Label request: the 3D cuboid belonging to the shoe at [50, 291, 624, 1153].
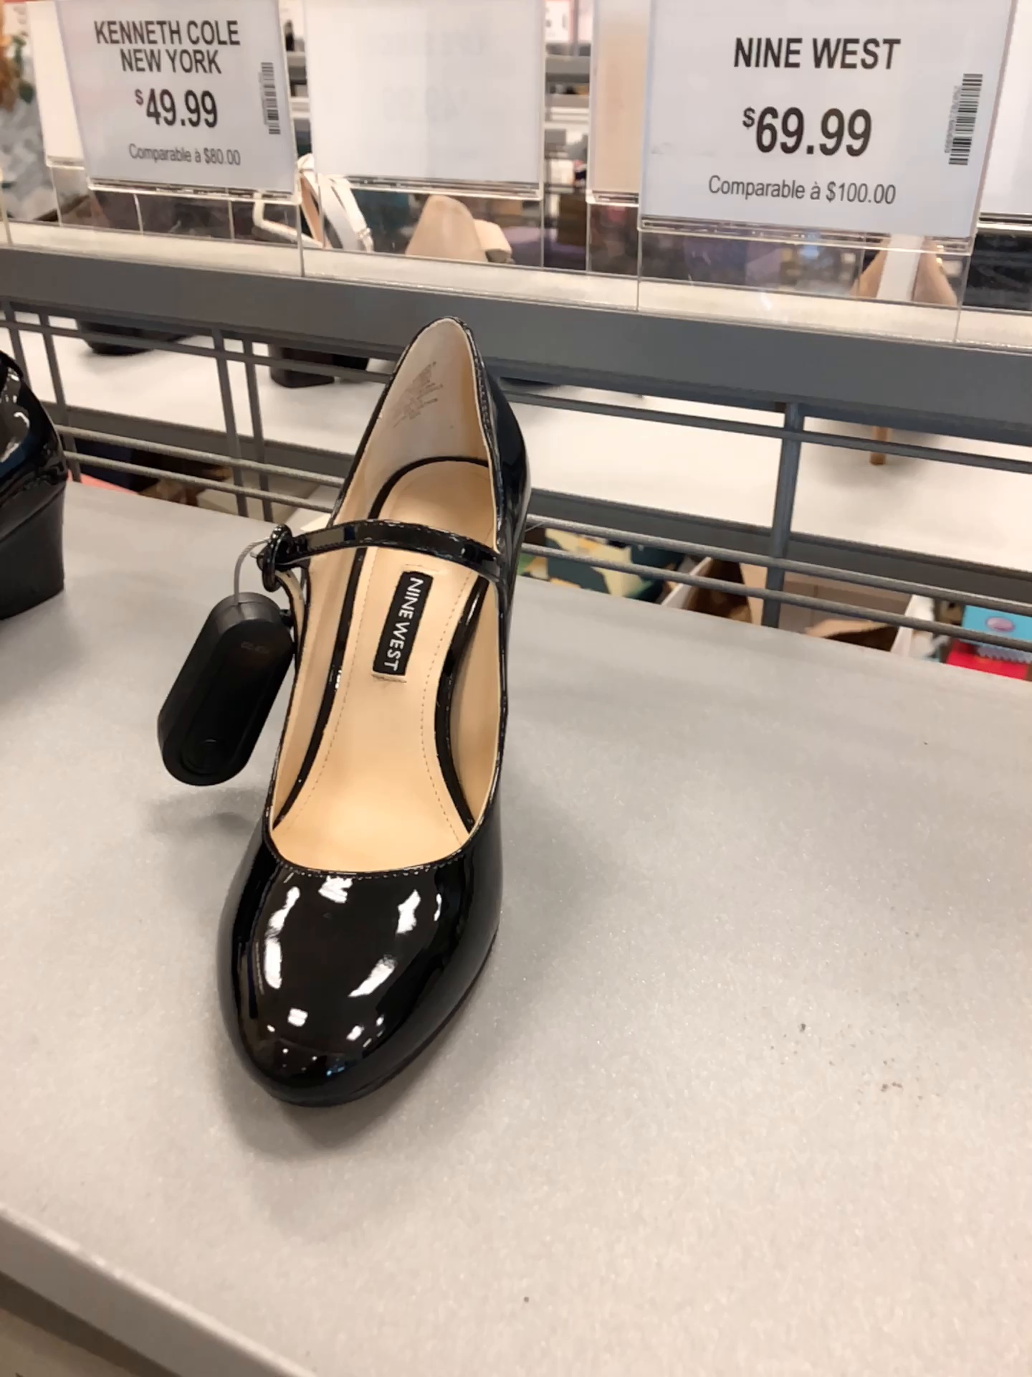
[{"bbox_3d":[-0.025,-0.019,0.360,0.090,0.151,0.258,5,31,8],"label":"shoe"}]
